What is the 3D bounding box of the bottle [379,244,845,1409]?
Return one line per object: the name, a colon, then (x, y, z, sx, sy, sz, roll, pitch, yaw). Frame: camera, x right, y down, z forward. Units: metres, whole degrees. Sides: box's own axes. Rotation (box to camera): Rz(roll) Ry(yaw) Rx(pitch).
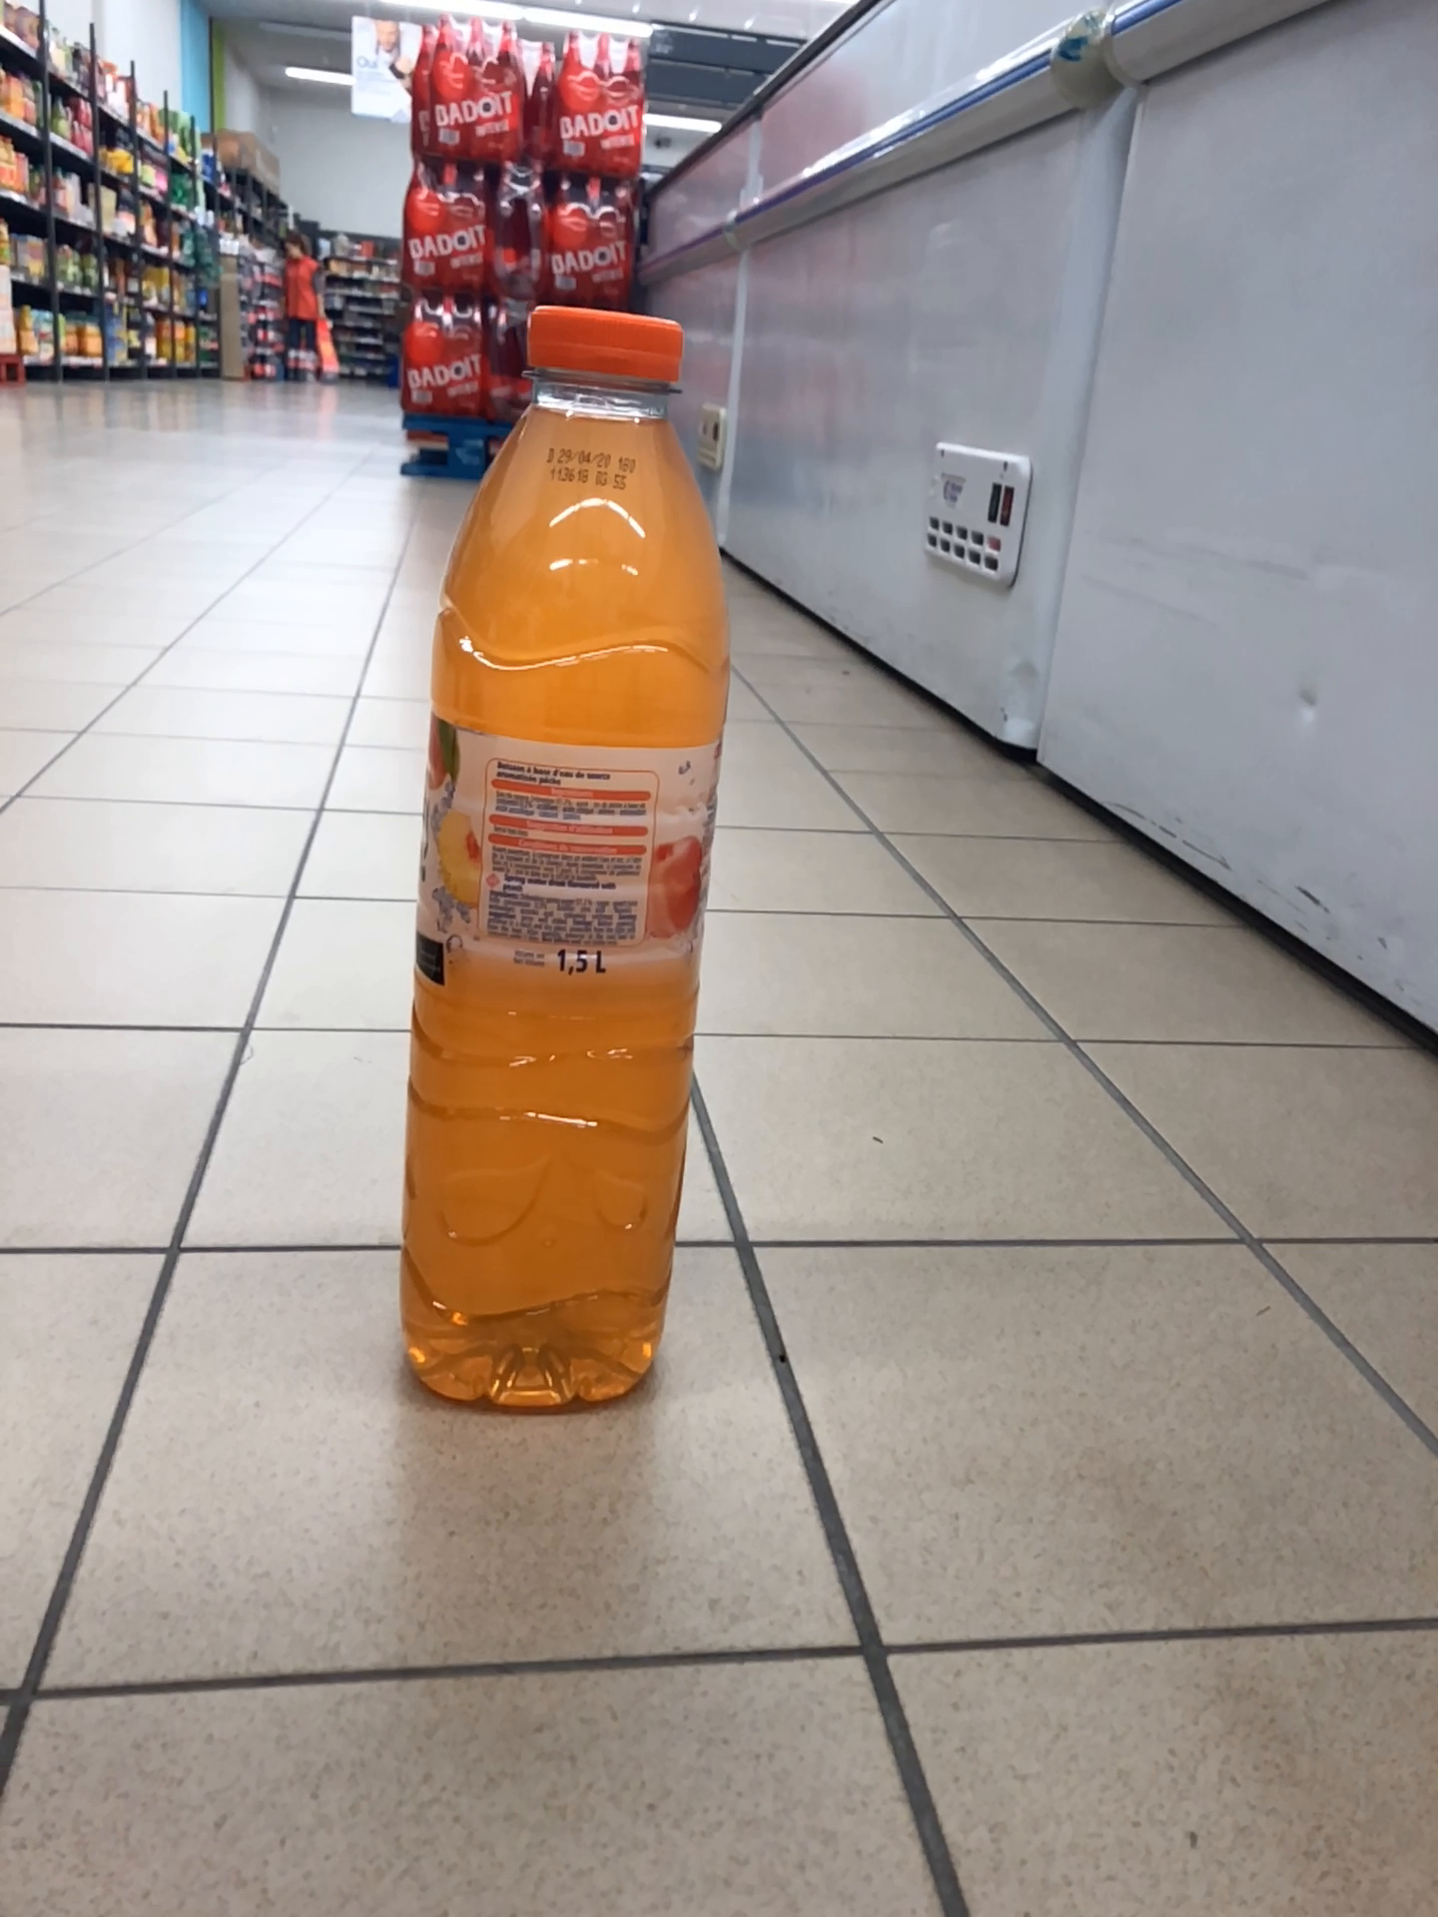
bottle: (-0.040, -0.031, 0.450, 0.100, 0.299, 0.100, 5, 18, -2)
